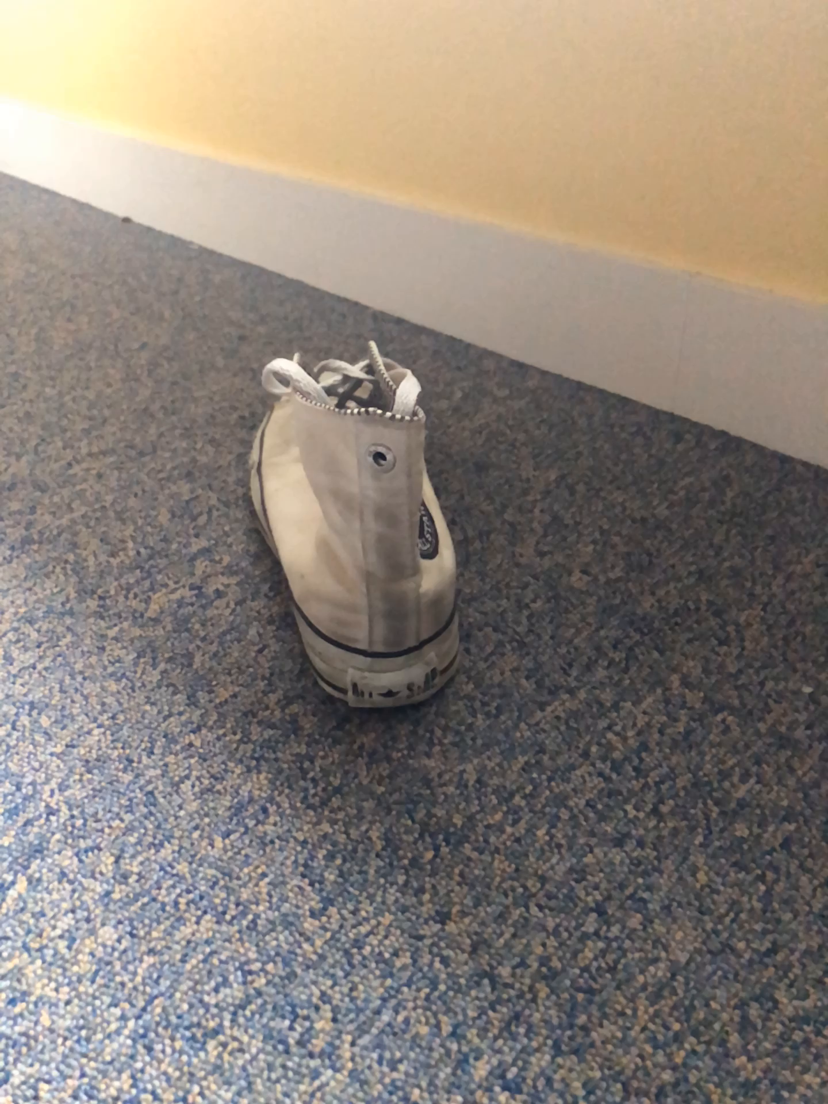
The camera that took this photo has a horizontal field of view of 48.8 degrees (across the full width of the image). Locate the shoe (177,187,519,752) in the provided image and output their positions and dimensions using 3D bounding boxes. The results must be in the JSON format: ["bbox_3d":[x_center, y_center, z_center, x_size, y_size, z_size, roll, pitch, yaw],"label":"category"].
[{"bbox_3d":[-0.041,-0.059,0.417,0.100,0.139,0.251,-10,36,-9],"label":"shoe"}]
